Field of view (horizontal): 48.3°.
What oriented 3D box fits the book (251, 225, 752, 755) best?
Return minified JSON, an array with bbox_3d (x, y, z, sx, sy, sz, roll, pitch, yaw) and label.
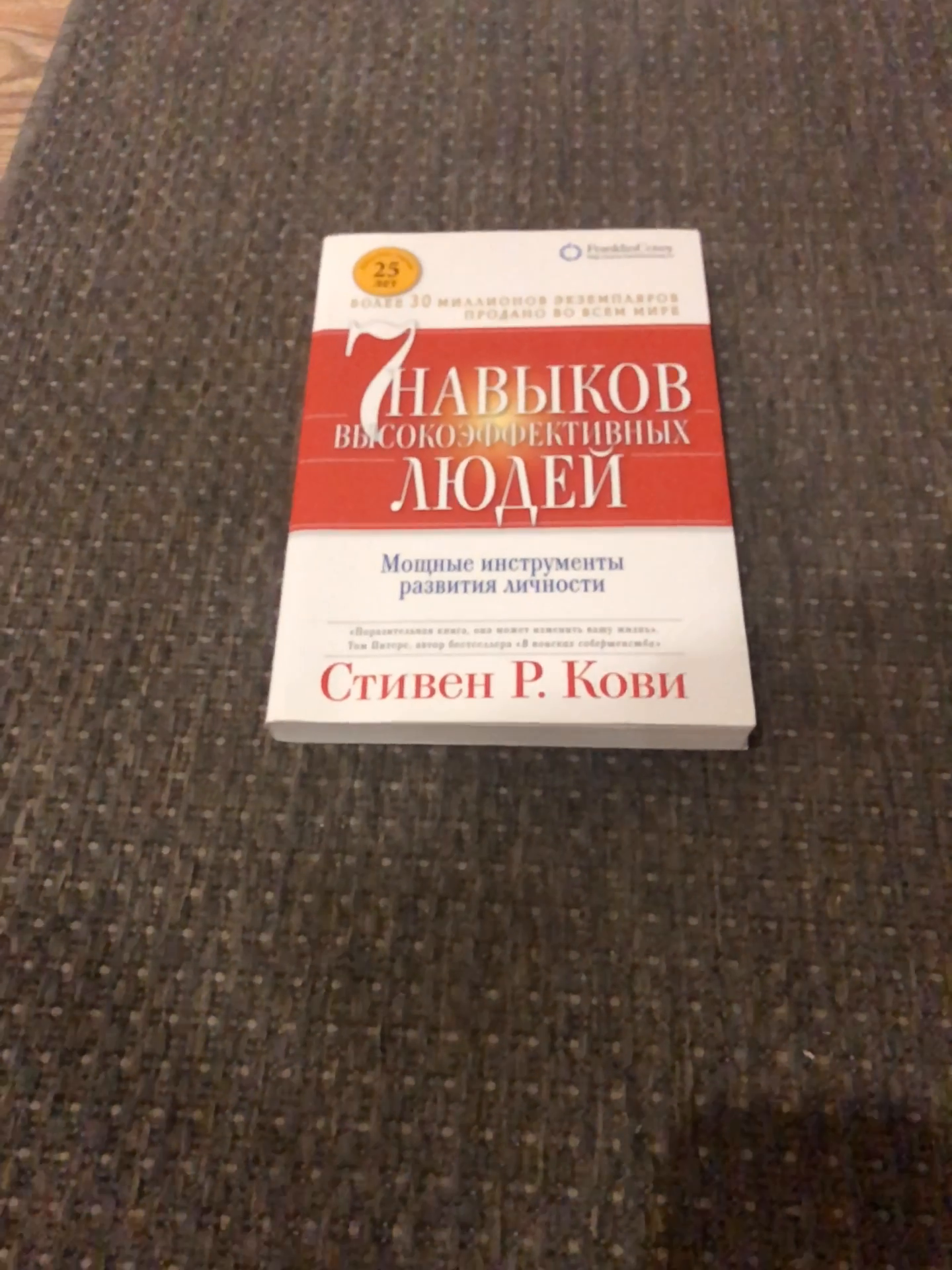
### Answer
[{"bbox_3d":[0.012,-0.068,0.416,0.166,0.020,0.237,0,62,4],"label":"book"}]
